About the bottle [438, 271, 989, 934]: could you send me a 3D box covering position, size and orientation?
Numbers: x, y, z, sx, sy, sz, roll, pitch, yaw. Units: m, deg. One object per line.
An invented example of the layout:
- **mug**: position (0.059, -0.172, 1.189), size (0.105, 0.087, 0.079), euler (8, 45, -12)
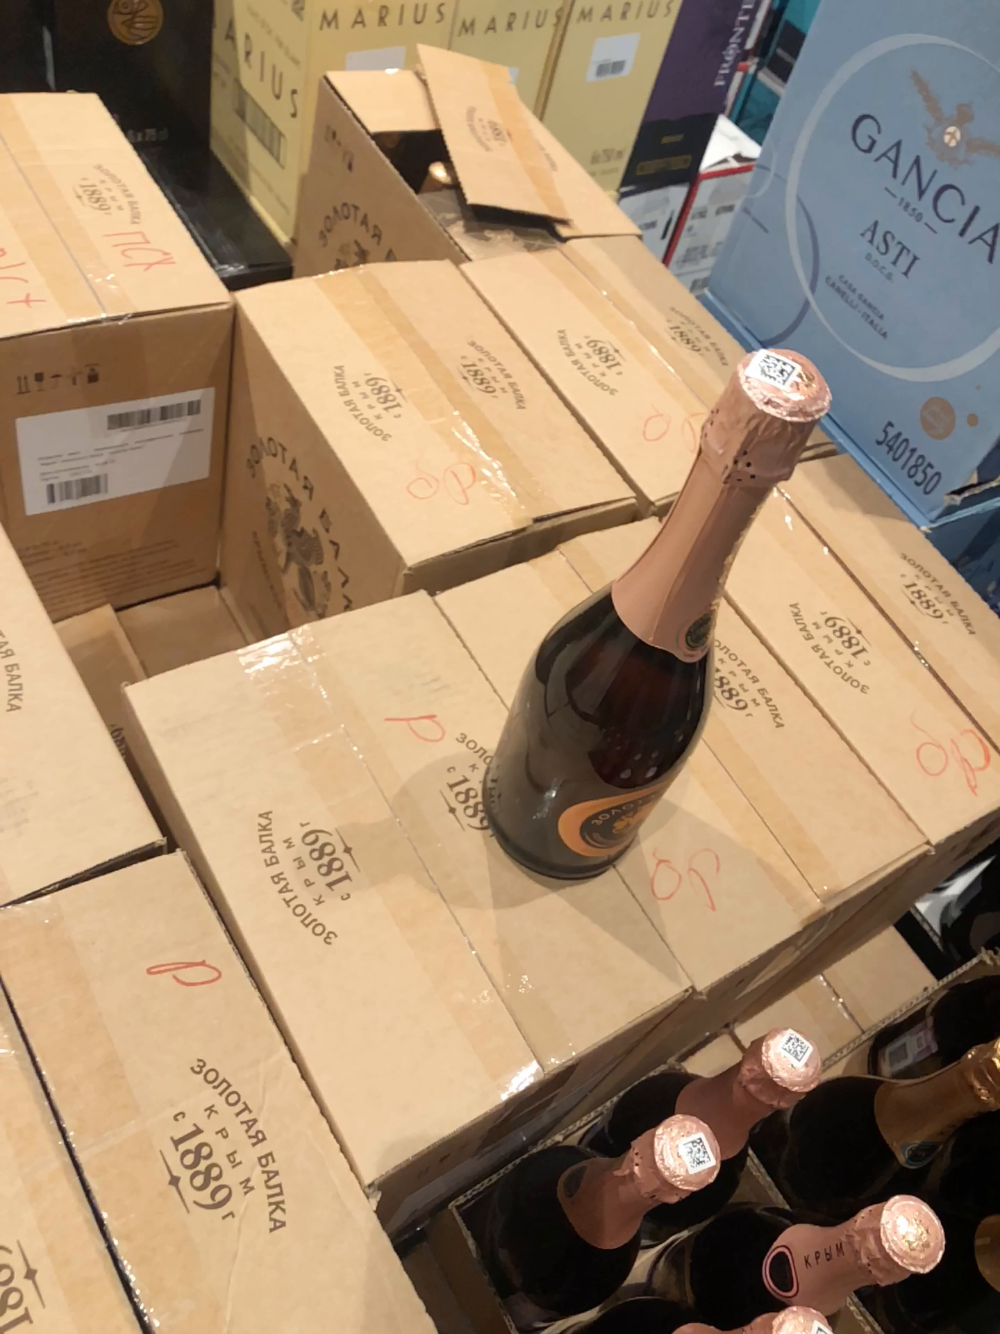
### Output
- **bottle**: position (0.066, -0.005, 0.484), size (0.100, 0.308, 0.090), euler (-24, 63, -29)
